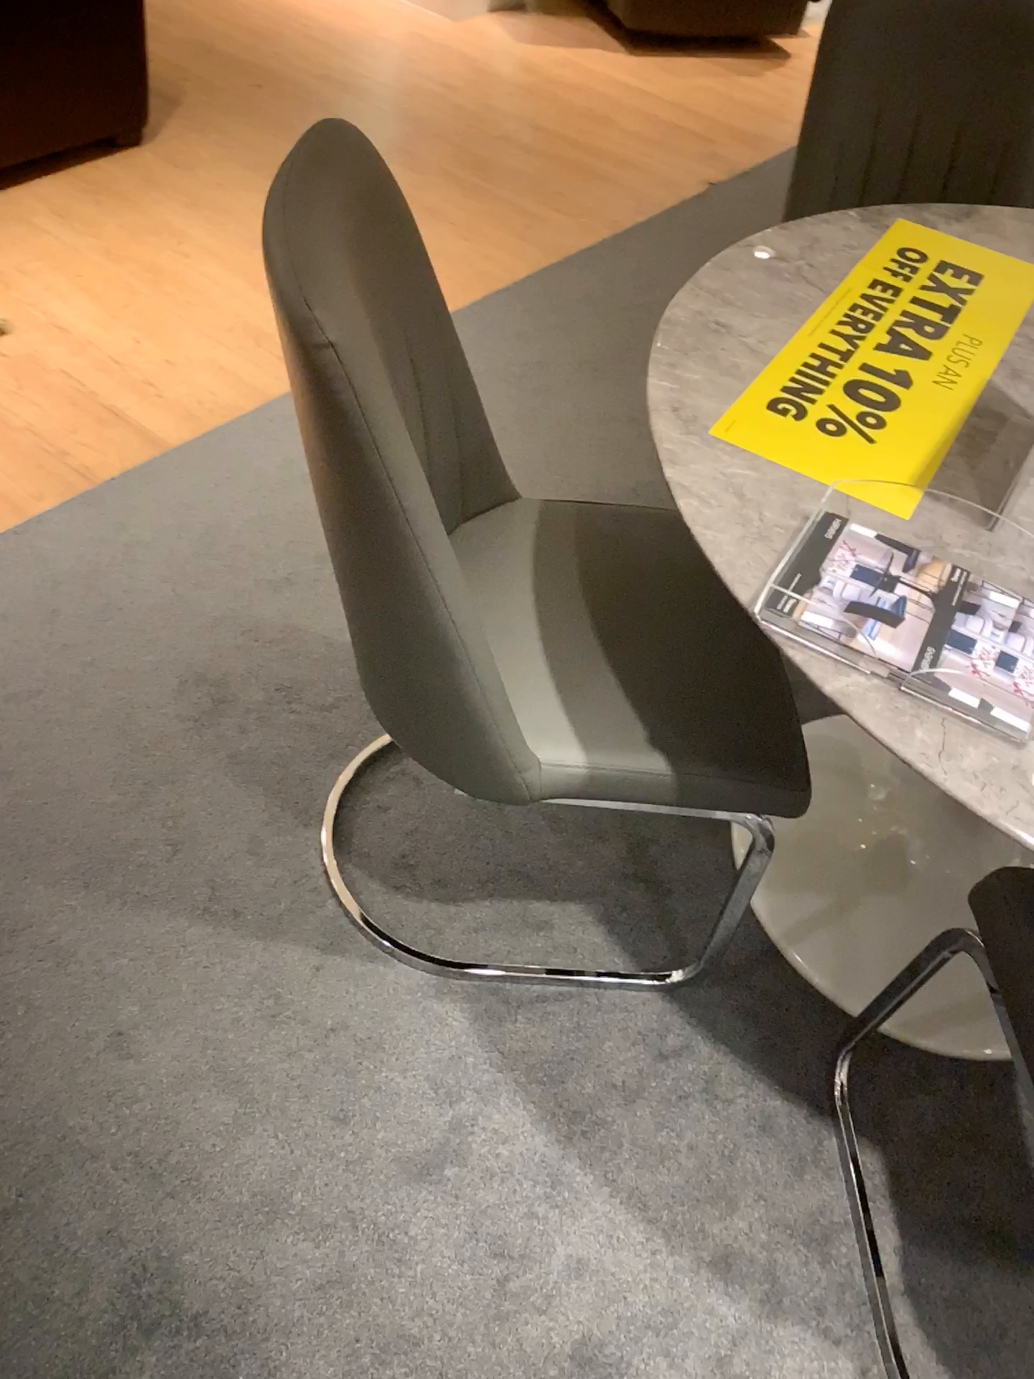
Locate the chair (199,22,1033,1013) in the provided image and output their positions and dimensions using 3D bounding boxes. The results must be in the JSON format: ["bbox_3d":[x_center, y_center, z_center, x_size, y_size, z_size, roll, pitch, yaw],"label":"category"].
[{"bbox_3d":[0.063,-0.112,1.175,0.628,0.883,0.555,5,48,-6],"label":"chair"}]

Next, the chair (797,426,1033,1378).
[{"bbox_3d":[0.670,0.358,0.855,0.520,0.883,0.584,6,48,-5],"label":"chair"}]

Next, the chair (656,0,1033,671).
[{"bbox_3d":[0.638,-0.550,1.680,0.520,0.883,0.583,-2,49,-11],"label":"chair"}]
